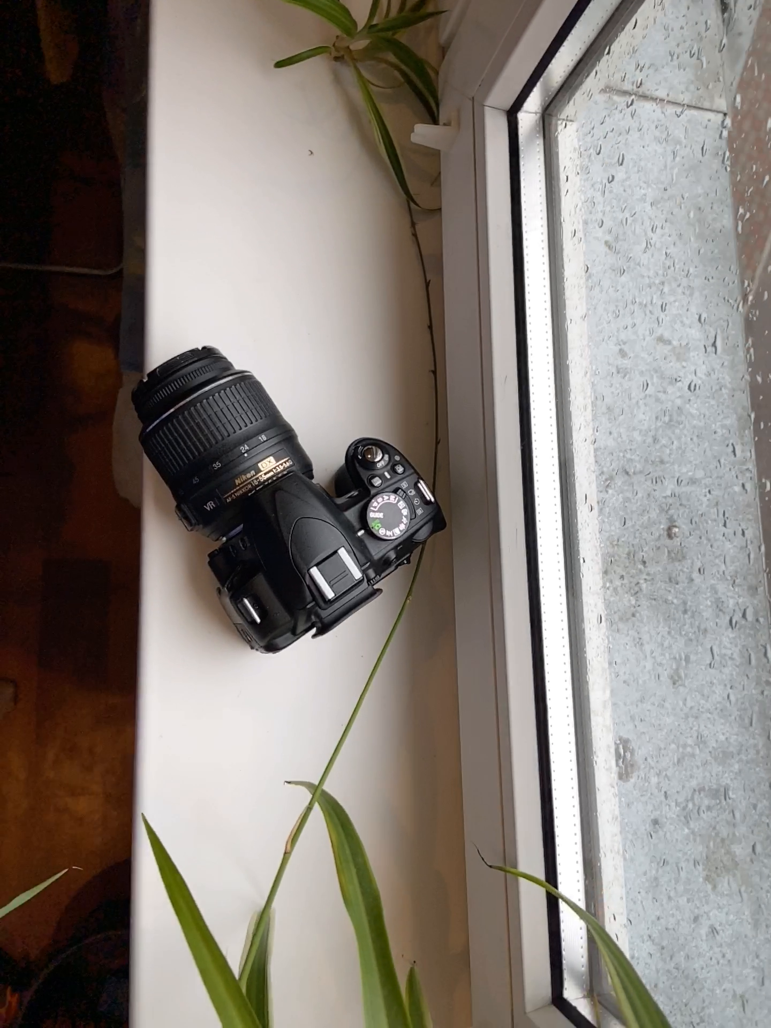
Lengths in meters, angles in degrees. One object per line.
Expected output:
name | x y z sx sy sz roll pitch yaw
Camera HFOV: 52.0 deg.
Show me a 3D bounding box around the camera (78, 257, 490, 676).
camera | -0.053 -0.020 0.410 0.125 0.091 0.154 -35 92 -17
